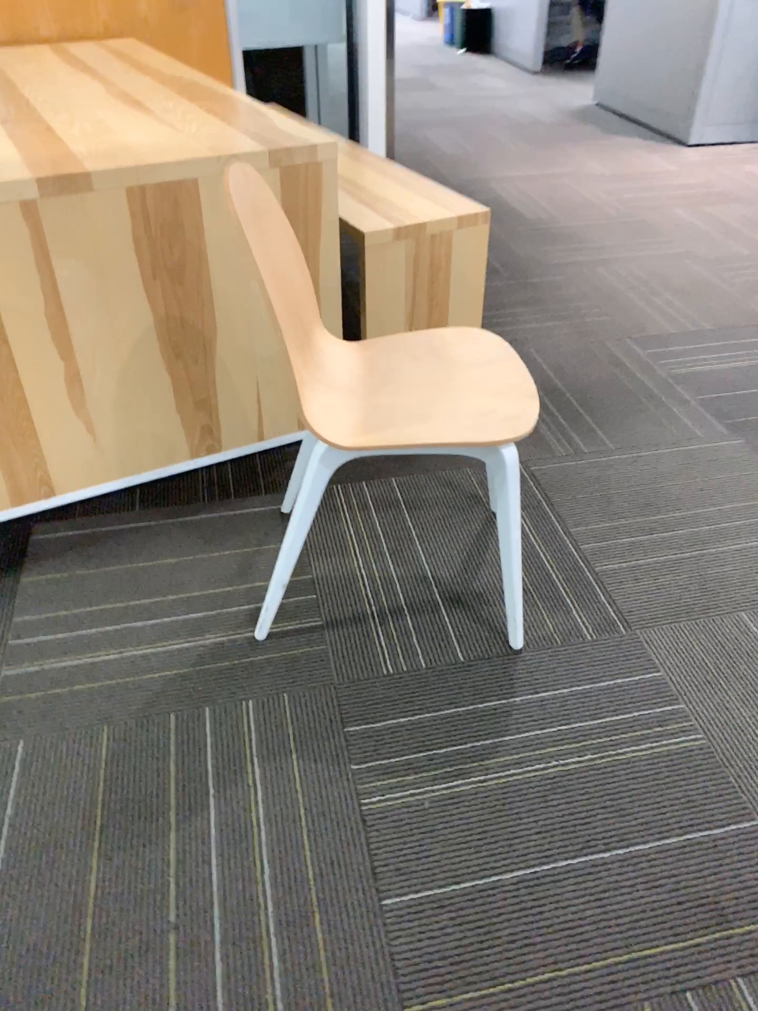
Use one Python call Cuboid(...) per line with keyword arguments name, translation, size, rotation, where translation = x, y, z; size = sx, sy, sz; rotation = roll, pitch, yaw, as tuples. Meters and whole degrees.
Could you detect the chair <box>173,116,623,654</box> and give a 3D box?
Cuboid(name="chair", translation=(0.023, -0.213, 1.423), size=(0.560, 0.815, 0.553), rotation=(0, 38, 0))
